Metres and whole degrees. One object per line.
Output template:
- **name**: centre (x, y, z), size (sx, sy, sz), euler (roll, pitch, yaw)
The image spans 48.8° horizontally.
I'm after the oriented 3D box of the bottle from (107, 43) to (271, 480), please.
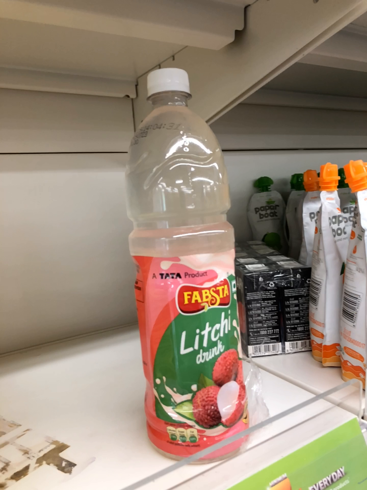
- **bottle**: centre (0.004, 0.011, 0.292), size (0.080, 0.269, 0.070), euler (-7, 8, -20)
